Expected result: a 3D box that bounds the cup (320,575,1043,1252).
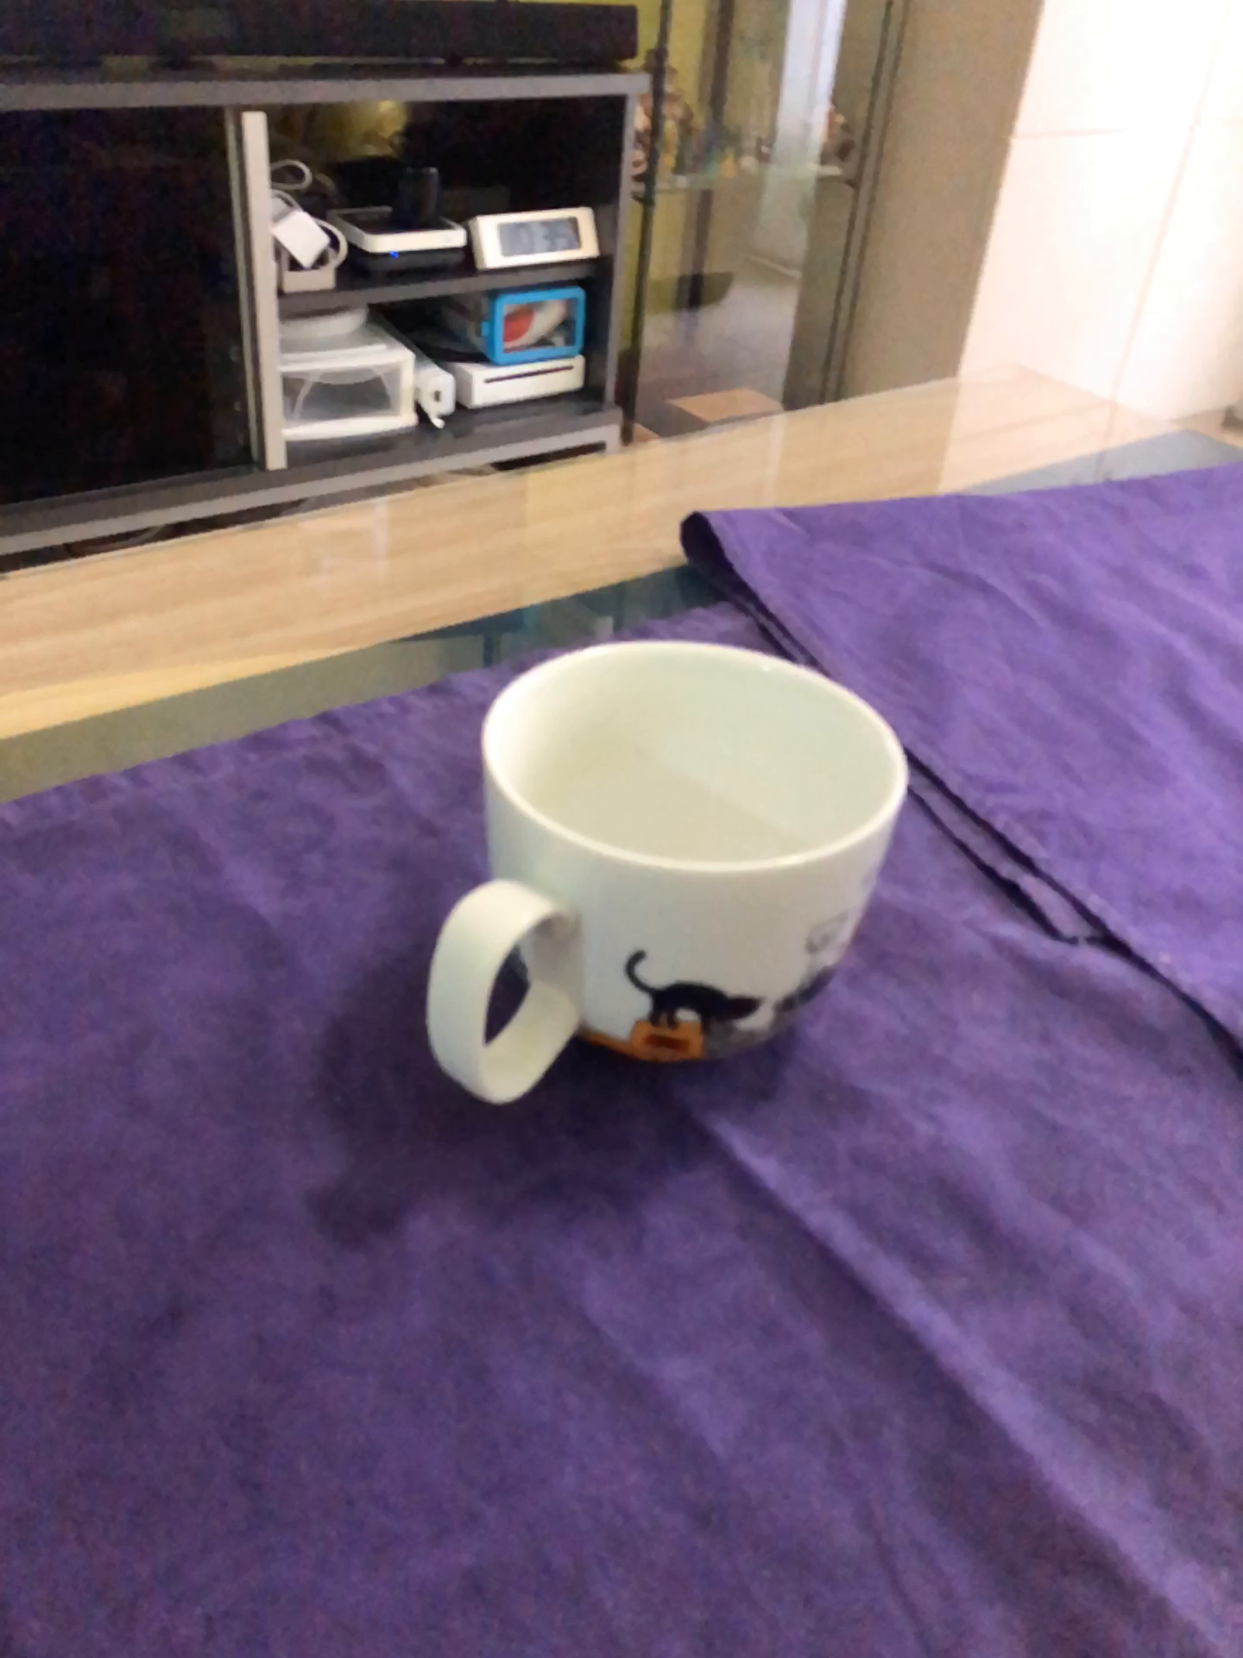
[{"bbox_3d":[0.016,0.008,0.317,0.090,0.070,0.140,30,42,30],"label":"cup"}]
